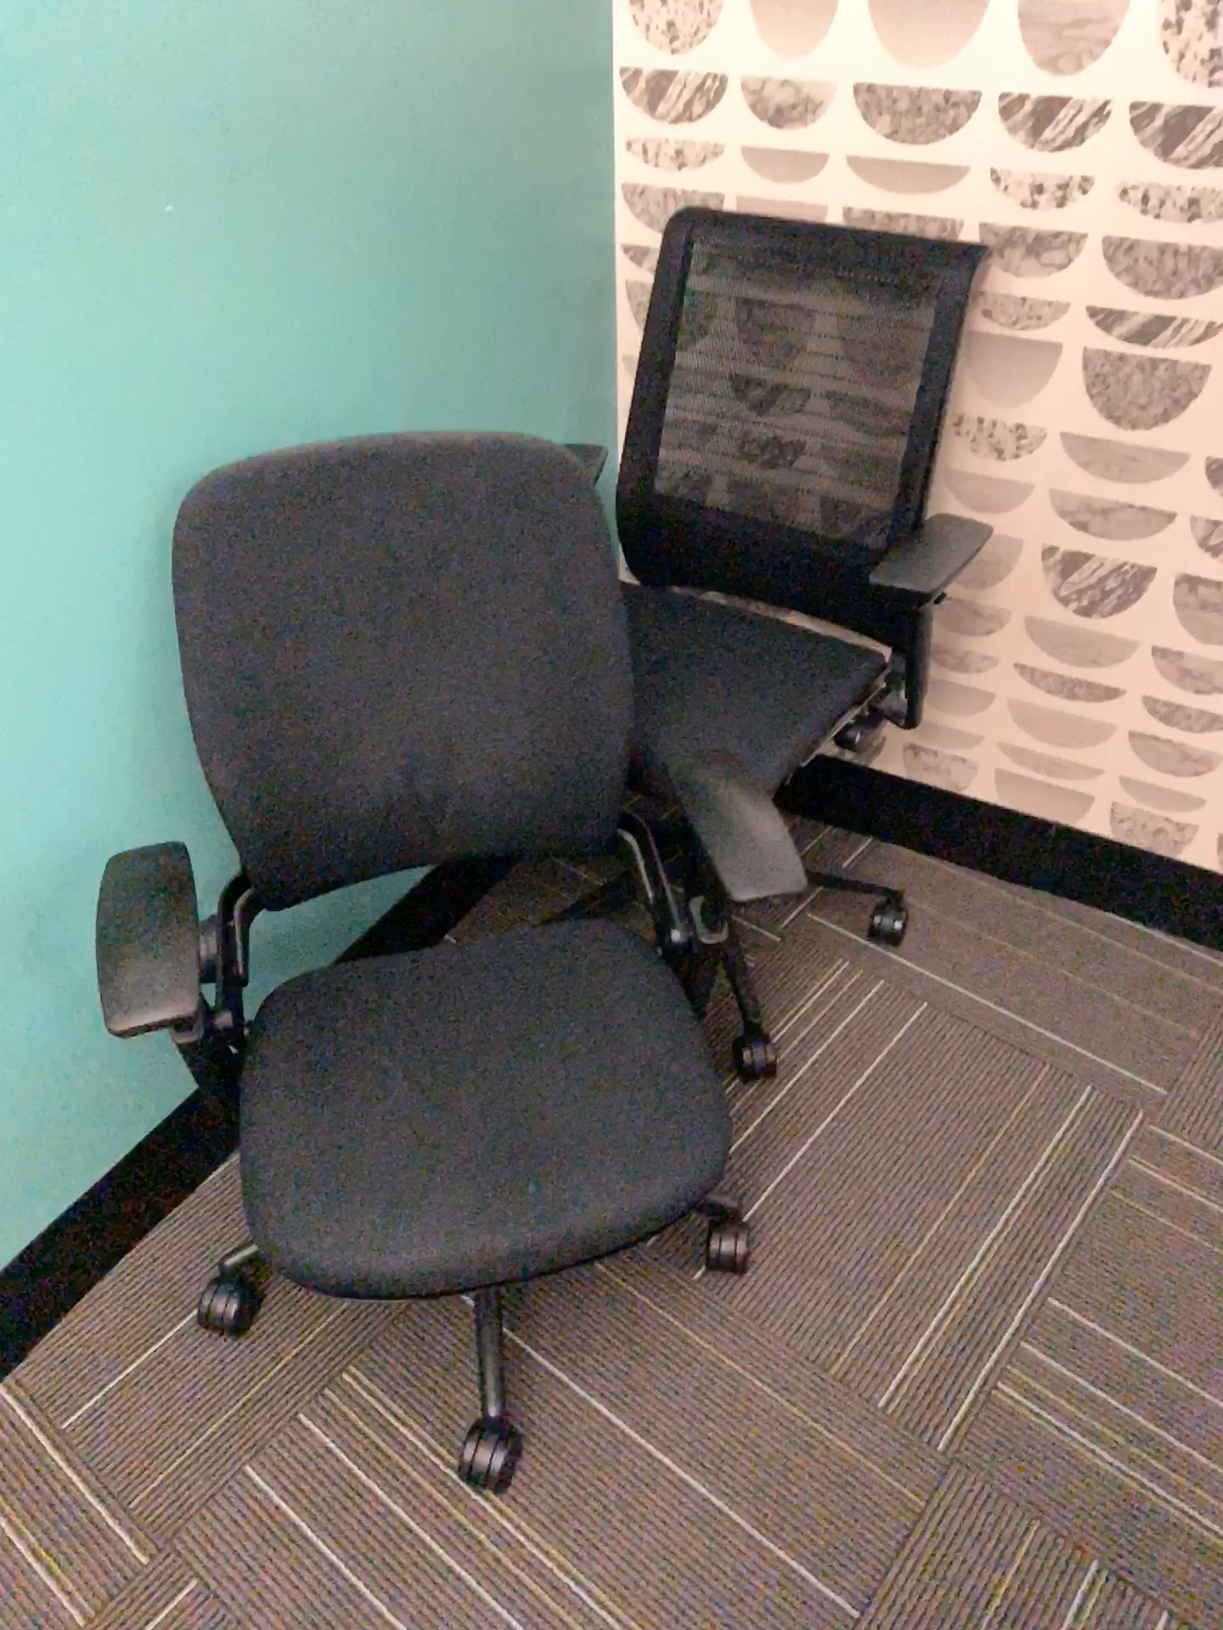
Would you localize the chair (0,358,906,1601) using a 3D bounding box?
[{"bbox_3d":[-0.211,0.143,1.329,0.660,0.944,0.775,-9,38,-9],"label":"chair"}]
